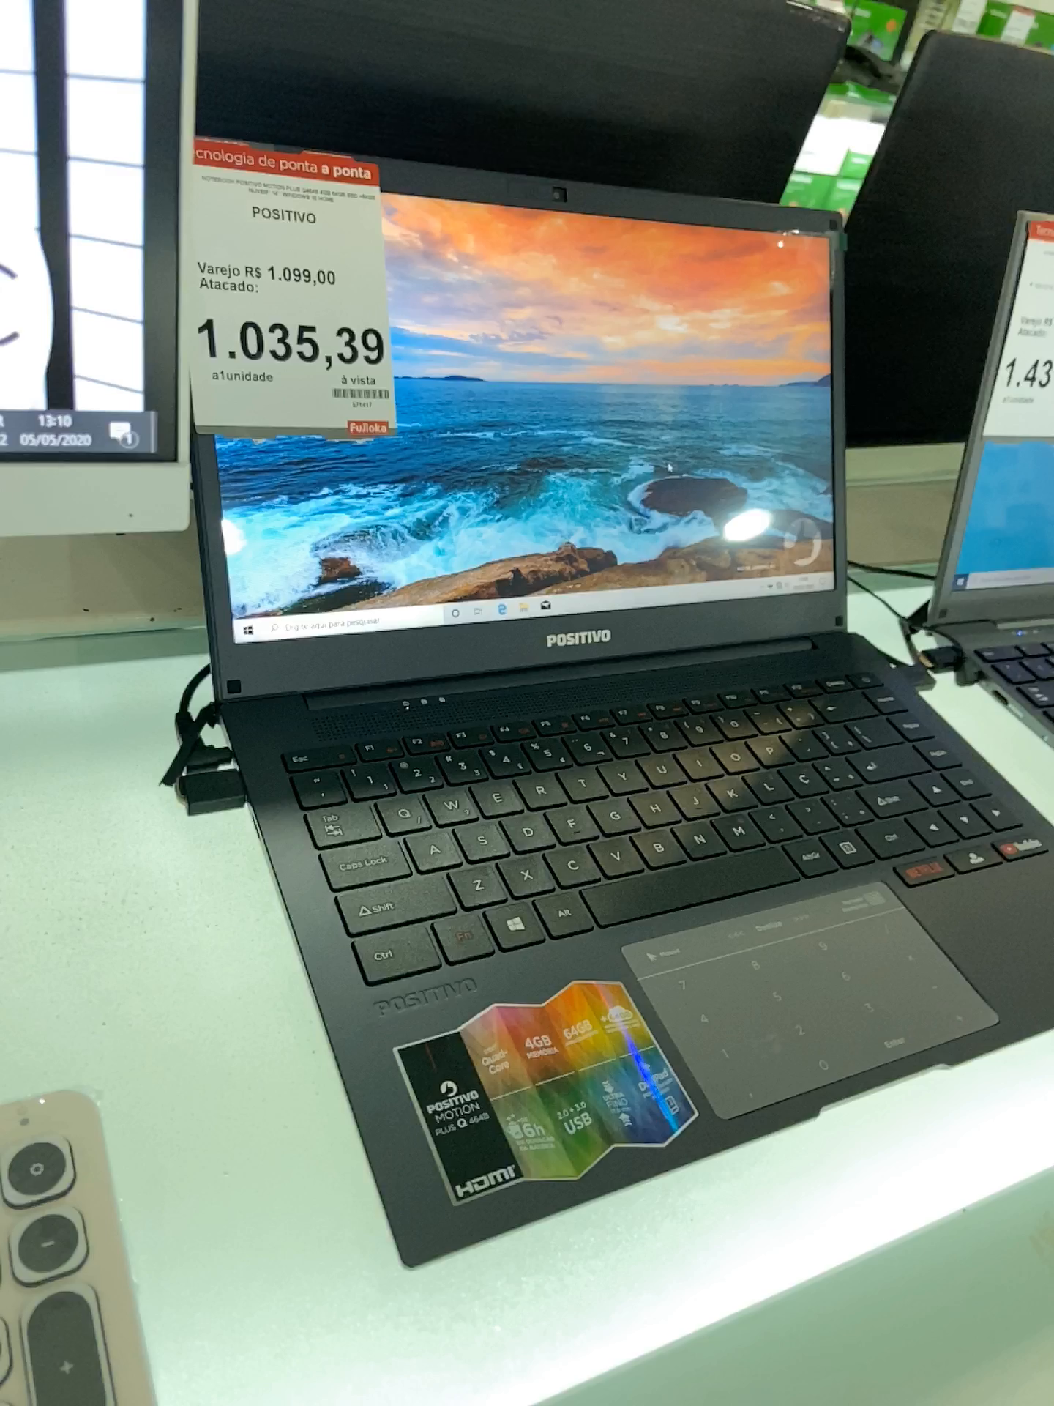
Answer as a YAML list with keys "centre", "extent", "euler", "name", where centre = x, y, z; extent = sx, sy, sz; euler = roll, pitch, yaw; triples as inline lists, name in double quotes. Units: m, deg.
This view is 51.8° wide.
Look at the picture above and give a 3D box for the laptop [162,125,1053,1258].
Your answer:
- centre: [0.063, -0.056, 0.423]
  extent: [0.334, 0.175, 0.355]
  euler: [-7, 43, -27]
  name: "laptop"
